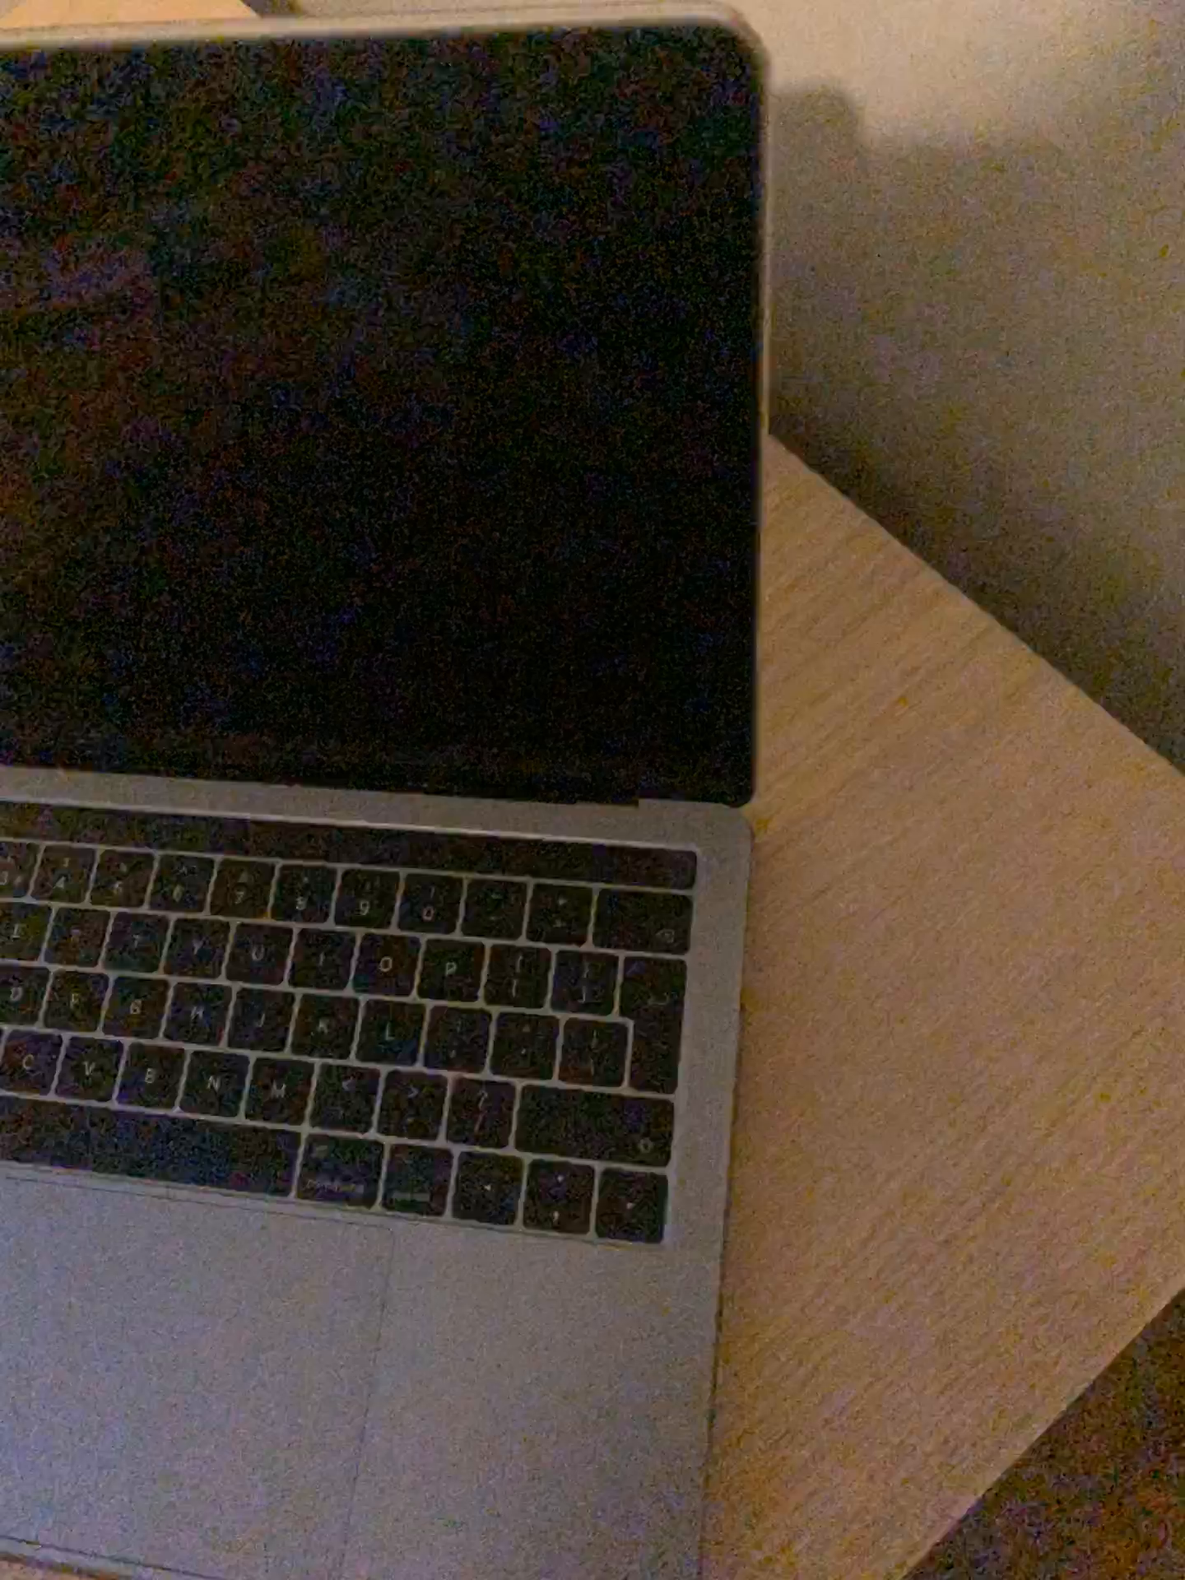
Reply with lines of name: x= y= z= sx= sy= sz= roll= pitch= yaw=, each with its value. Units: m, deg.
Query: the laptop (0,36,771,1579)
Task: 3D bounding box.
laptop: x=-0.123 y=0.034 z=0.253 sx=0.294 sy=0.198 sz=0.257 roll=4 pitch=69 yaw=10
